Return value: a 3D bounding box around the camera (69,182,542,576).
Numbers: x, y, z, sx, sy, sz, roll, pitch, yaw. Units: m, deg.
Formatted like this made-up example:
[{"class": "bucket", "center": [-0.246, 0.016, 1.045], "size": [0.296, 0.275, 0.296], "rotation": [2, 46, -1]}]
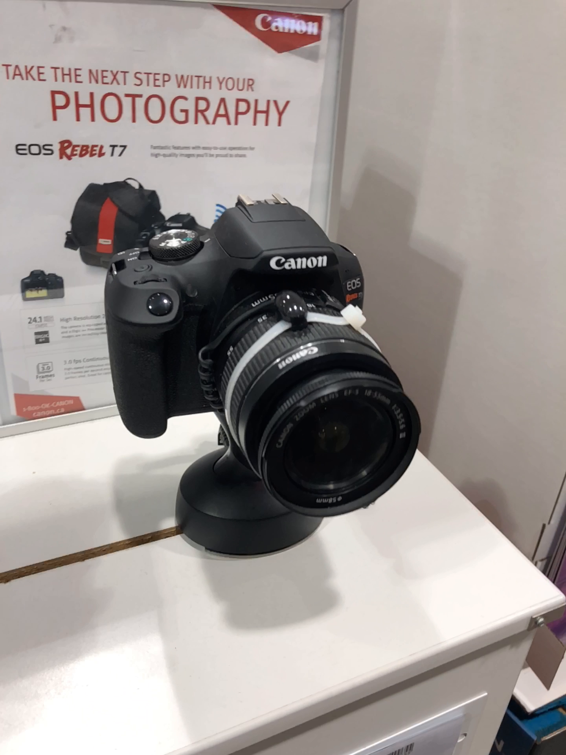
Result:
[{"class": "camera", "center": [-0.005, -0.017, 0.267], "size": [0.140, 0.090, 0.140], "rotation": [-9, 32, -20]}]
